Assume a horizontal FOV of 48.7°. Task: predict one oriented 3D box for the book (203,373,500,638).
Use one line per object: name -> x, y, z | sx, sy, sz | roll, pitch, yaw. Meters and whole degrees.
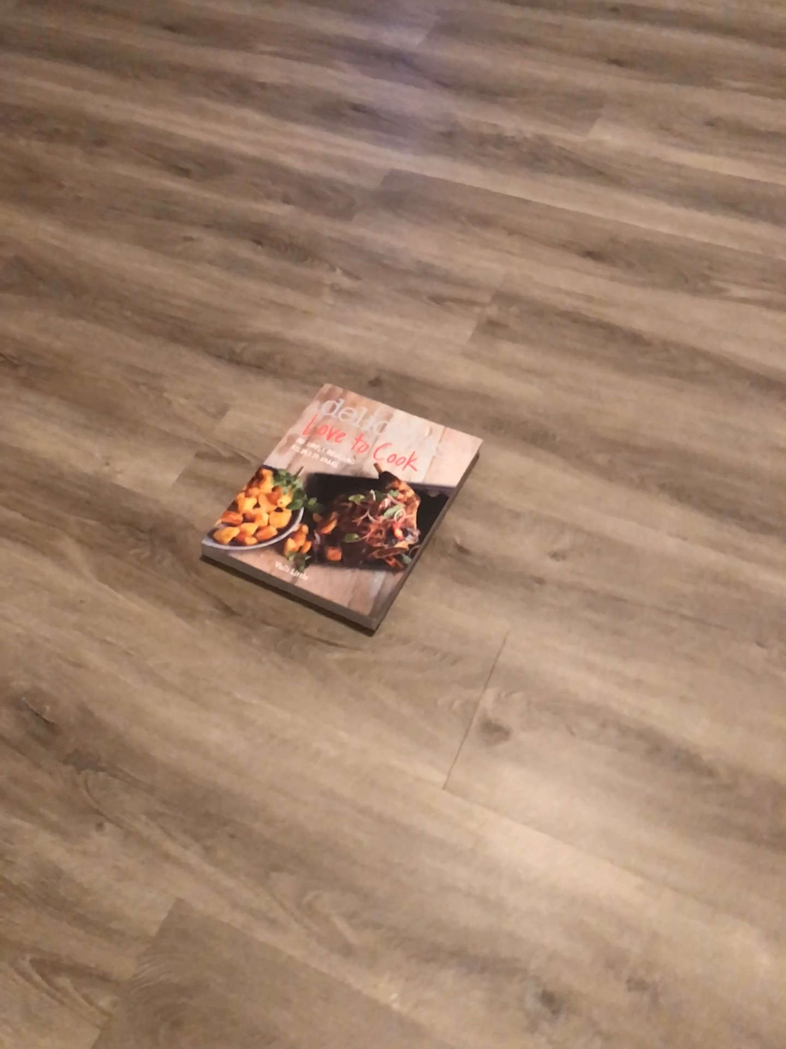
book -> -0.040, -0.036, 0.991 | 0.222, 0.030, 0.290 | 22, 57, 17
